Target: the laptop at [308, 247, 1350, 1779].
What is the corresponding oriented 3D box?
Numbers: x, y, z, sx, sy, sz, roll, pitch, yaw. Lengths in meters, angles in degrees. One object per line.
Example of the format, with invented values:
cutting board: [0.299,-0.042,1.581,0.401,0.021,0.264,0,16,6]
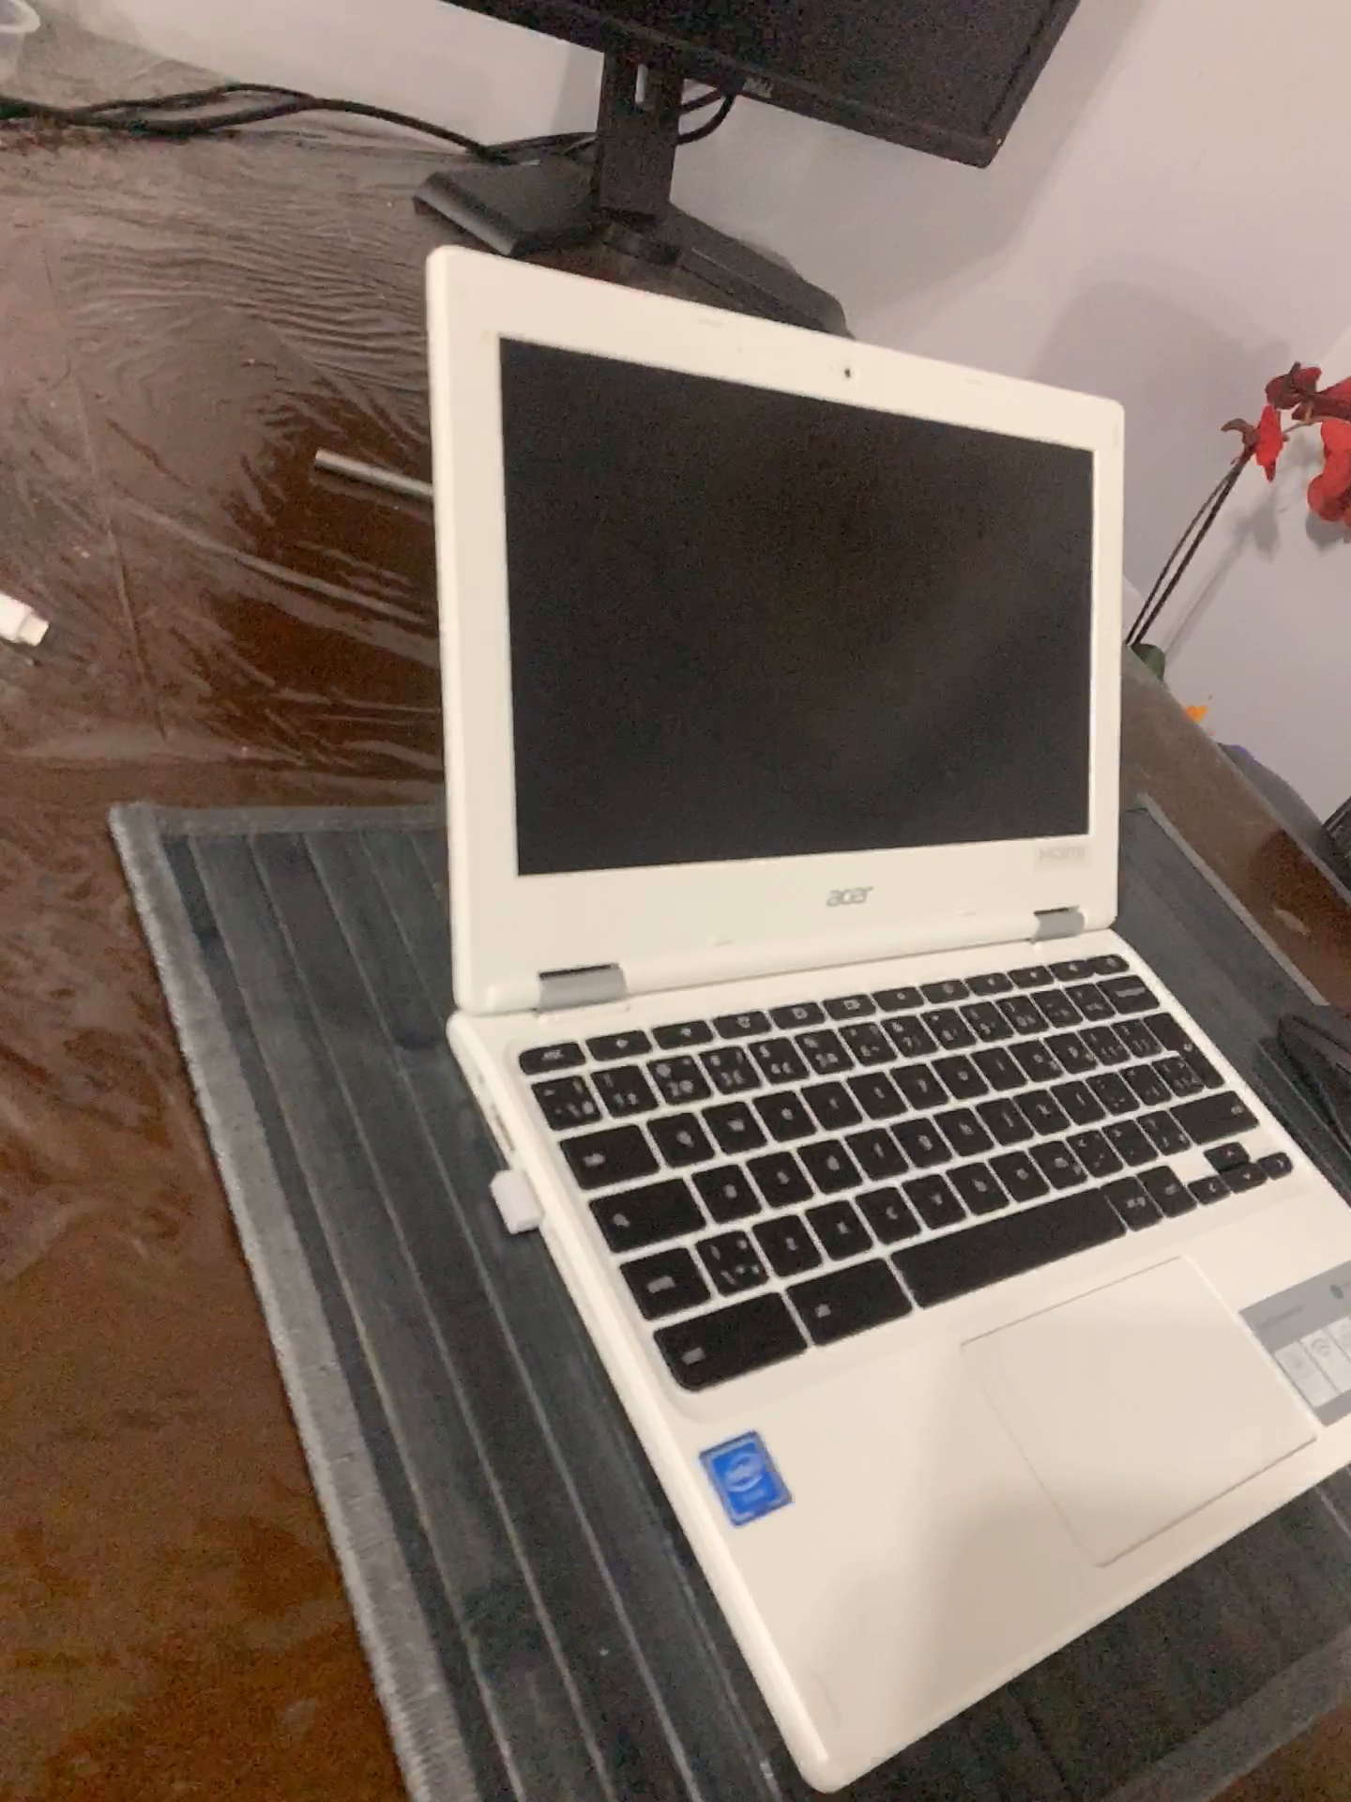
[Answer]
laptop: [0.099,-0.007,0.395,0.285,0.142,0.328,-5,51,-37]
